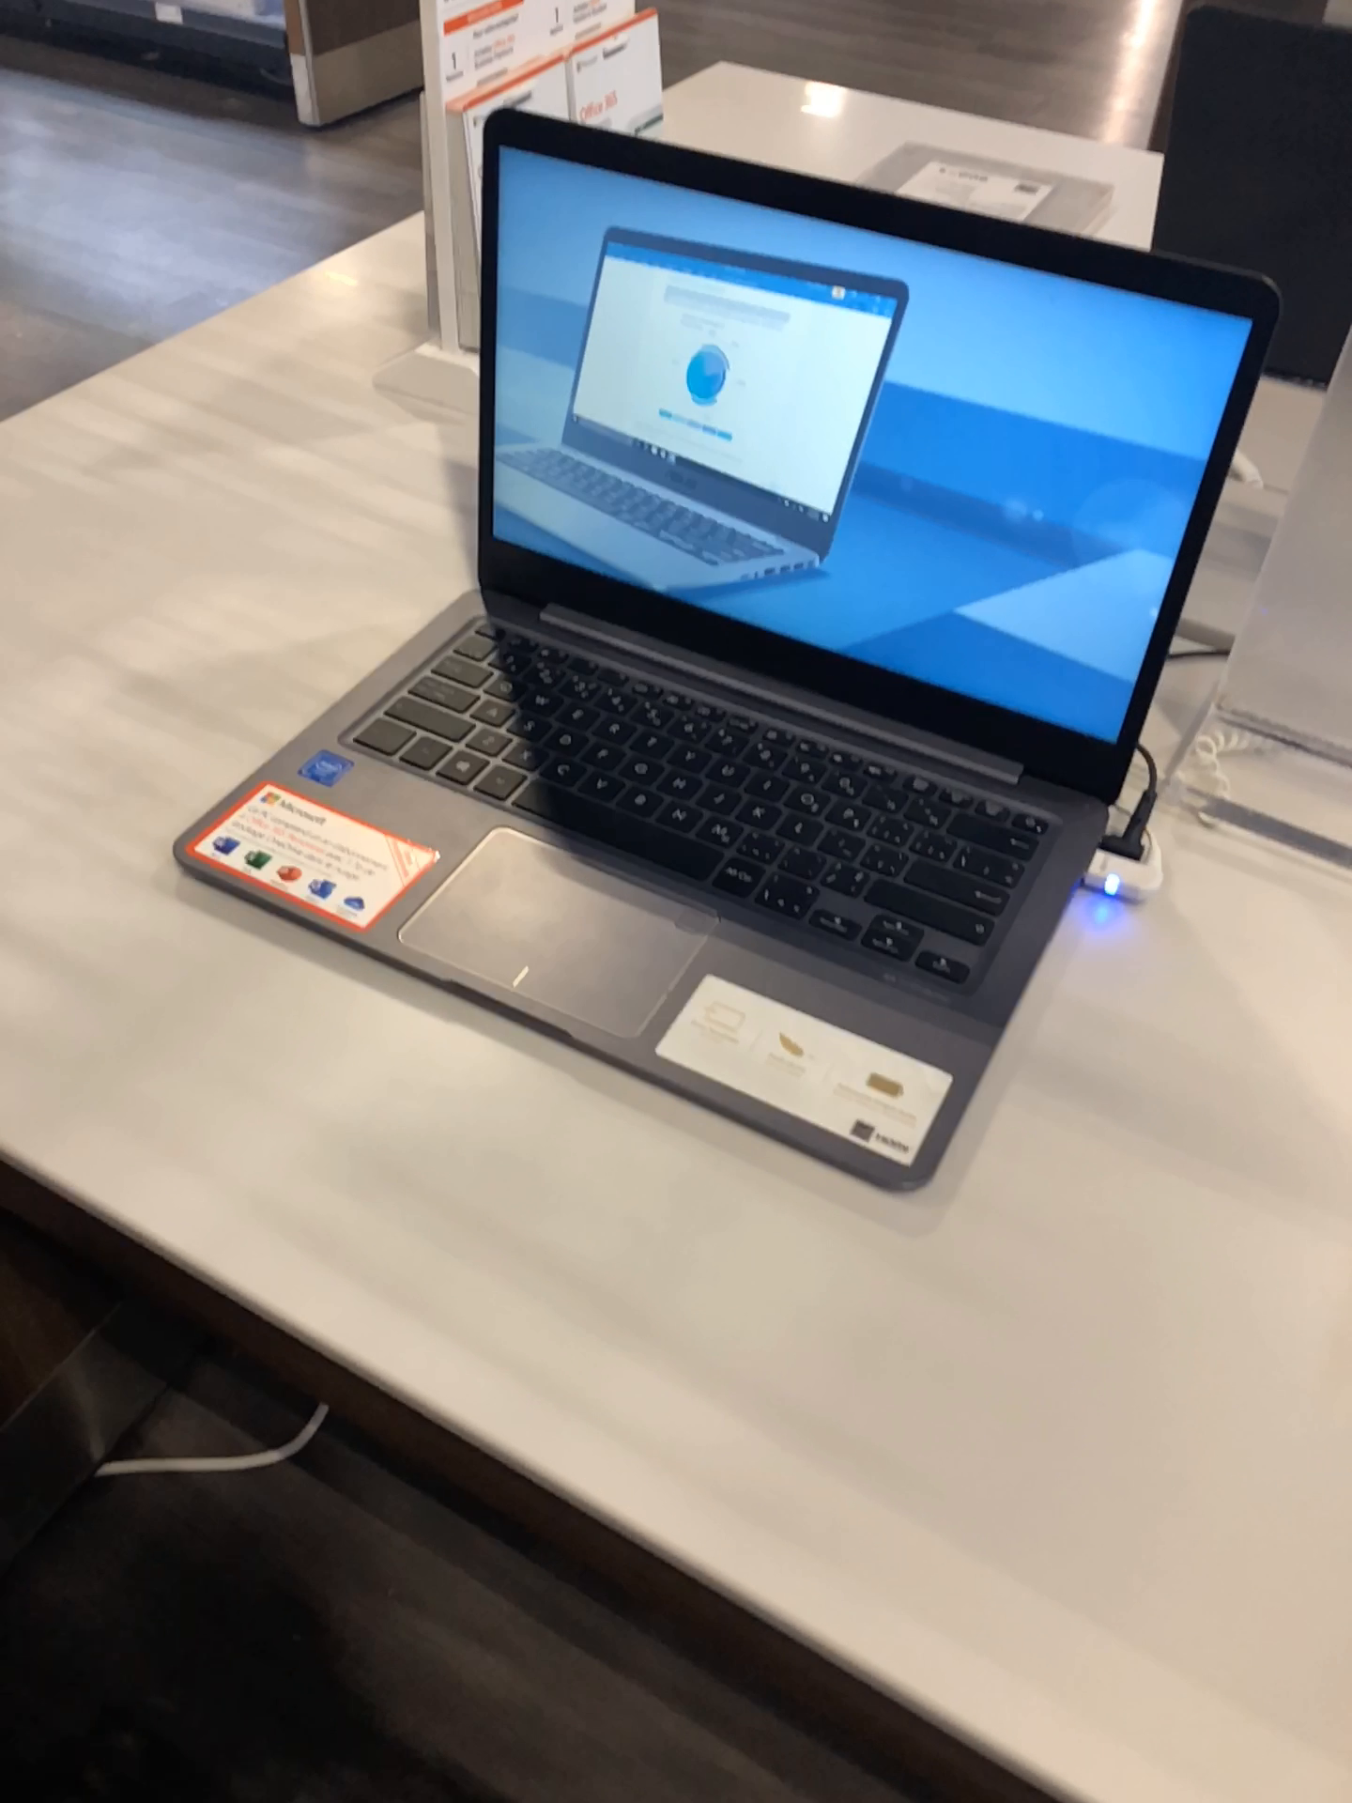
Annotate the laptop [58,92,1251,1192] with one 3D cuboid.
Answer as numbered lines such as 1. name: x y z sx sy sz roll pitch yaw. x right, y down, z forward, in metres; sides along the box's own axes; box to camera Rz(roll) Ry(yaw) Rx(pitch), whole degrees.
1. laptop: 0.005 -0.129 0.589 0.333 0.180 0.301 21 52 16
